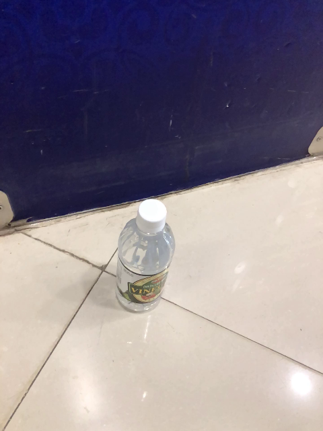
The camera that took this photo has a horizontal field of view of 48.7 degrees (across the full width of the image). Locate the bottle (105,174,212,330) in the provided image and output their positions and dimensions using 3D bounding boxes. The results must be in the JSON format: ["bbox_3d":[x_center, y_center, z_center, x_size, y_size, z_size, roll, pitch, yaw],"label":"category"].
[{"bbox_3d":[-0.014,0.052,0.420,0.080,0.189,0.070,-22,59,-23],"label":"bottle"}]
